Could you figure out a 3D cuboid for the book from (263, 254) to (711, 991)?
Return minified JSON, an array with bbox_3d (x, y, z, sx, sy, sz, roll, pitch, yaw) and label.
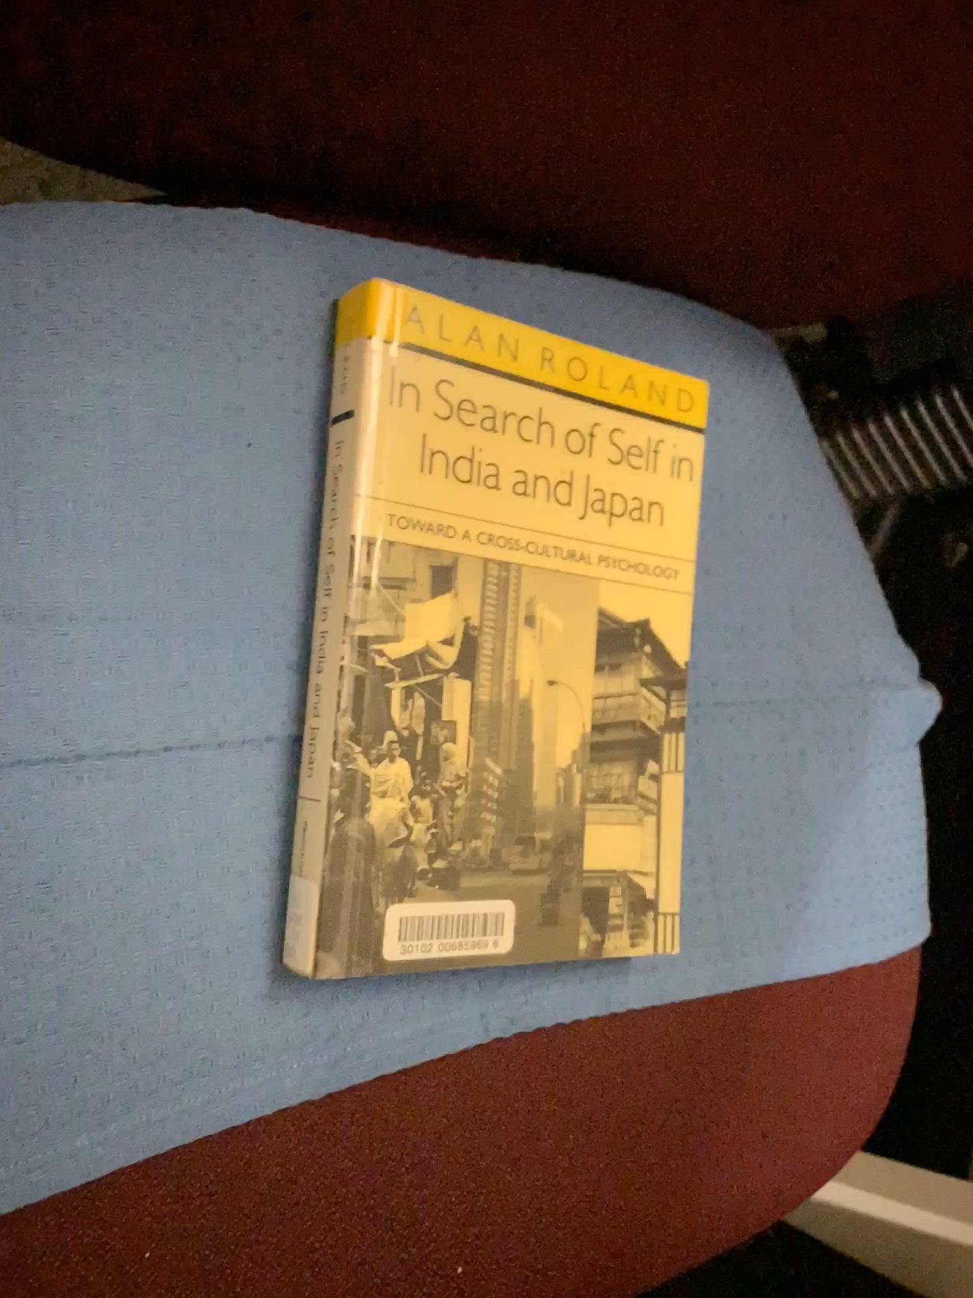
[{"bbox_3d":[0.009,-0.004,0.367,0.156,0.032,0.232,7,83,-31],"label":"book"}]
